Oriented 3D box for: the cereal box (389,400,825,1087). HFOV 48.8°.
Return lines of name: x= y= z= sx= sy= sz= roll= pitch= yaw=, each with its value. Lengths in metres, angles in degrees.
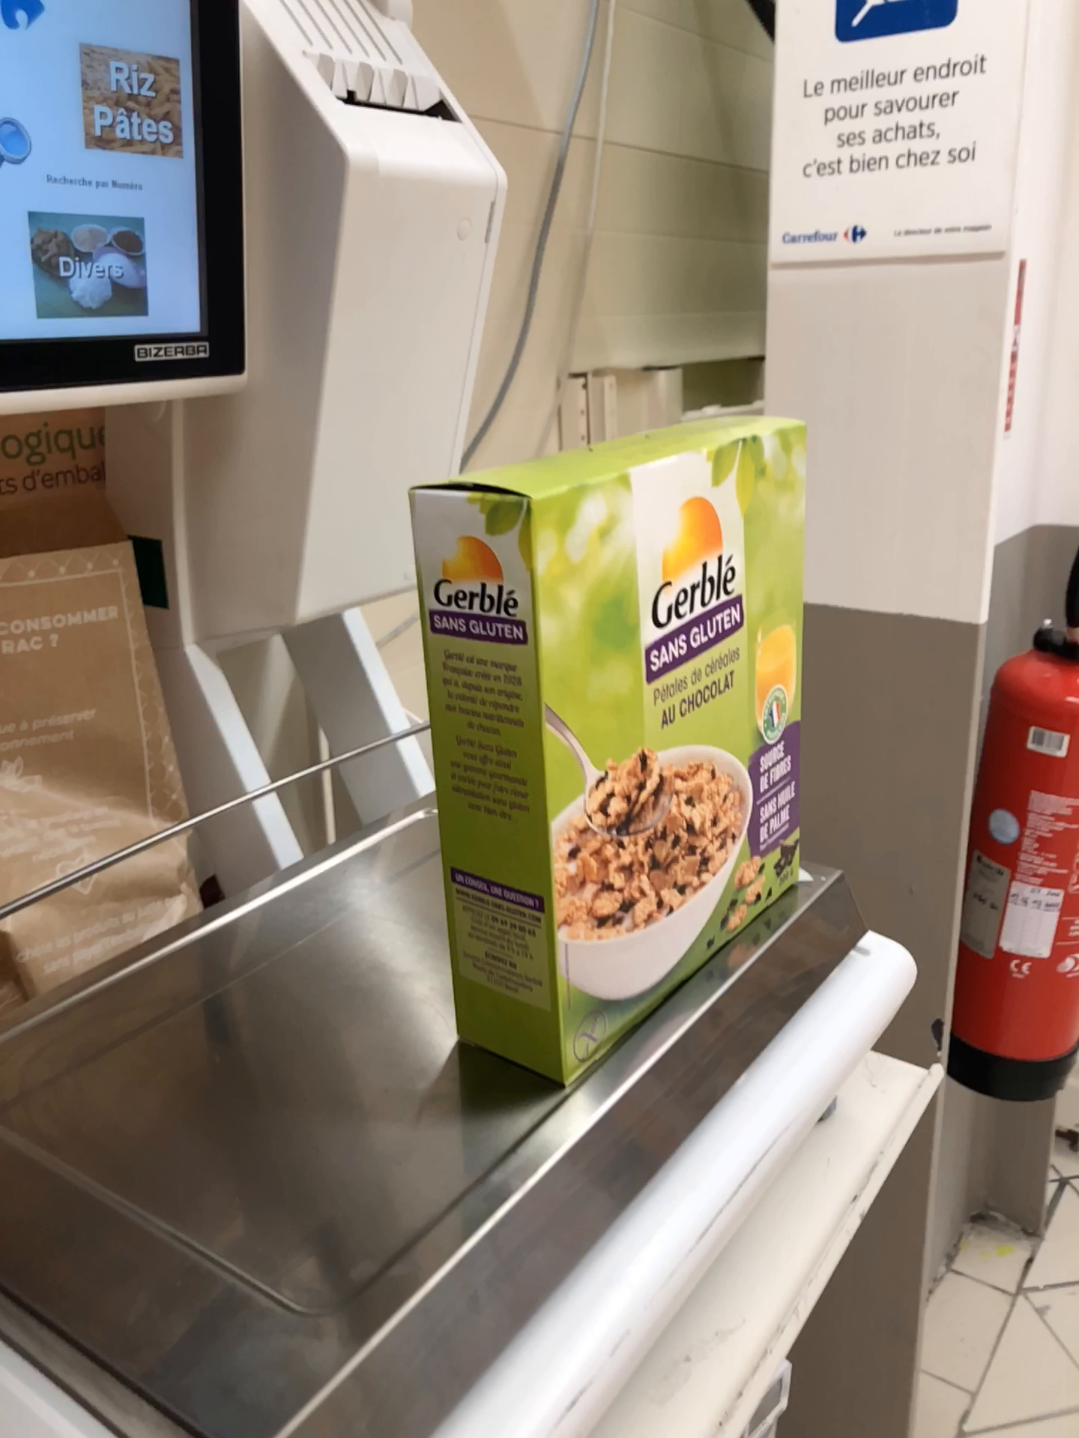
cereal box: x=0.042 y=-0.005 z=0.485 sx=0.060 sy=0.219 sz=0.201 roll=12 pitch=25 yaw=36
